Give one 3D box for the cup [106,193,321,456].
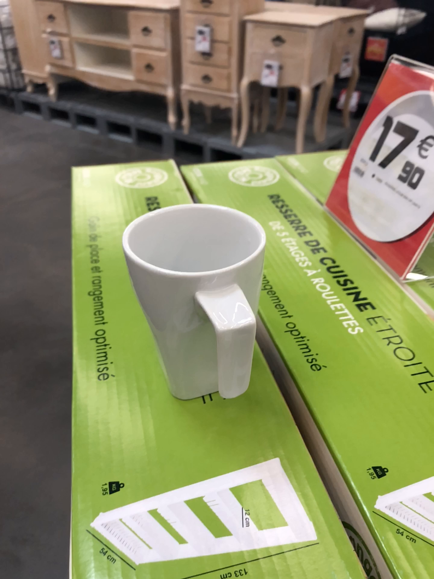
[{"bbox_3d":[-0.010,0.012,0.278,0.083,0.087,0.112,-10,36,-15],"label":"cup"}]
